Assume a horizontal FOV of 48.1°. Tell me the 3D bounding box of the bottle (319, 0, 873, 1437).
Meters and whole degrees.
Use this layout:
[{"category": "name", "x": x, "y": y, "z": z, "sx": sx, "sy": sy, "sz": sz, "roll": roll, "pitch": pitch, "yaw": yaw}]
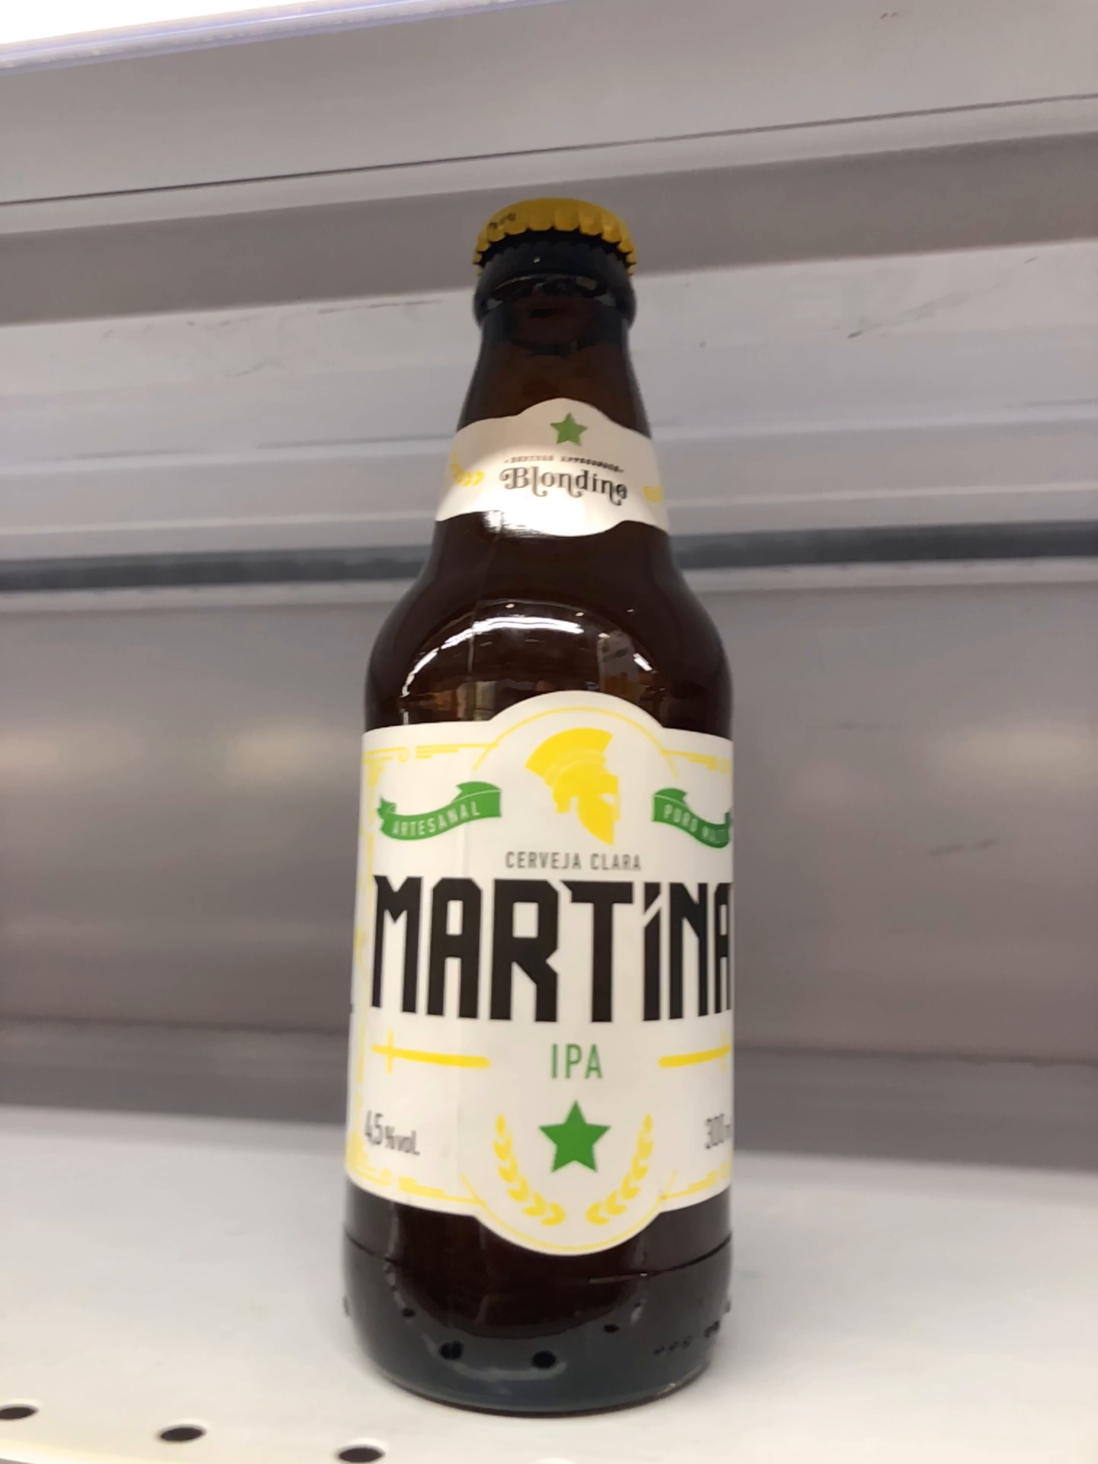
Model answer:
[{"category": "bottle", "x": 0.003, "y": -0.006, "z": 0.195, "sx": 0.070, "sy": 0.191, "sz": 0.060, "roll": 2, "pitch": -7, "yaw": -12}]
